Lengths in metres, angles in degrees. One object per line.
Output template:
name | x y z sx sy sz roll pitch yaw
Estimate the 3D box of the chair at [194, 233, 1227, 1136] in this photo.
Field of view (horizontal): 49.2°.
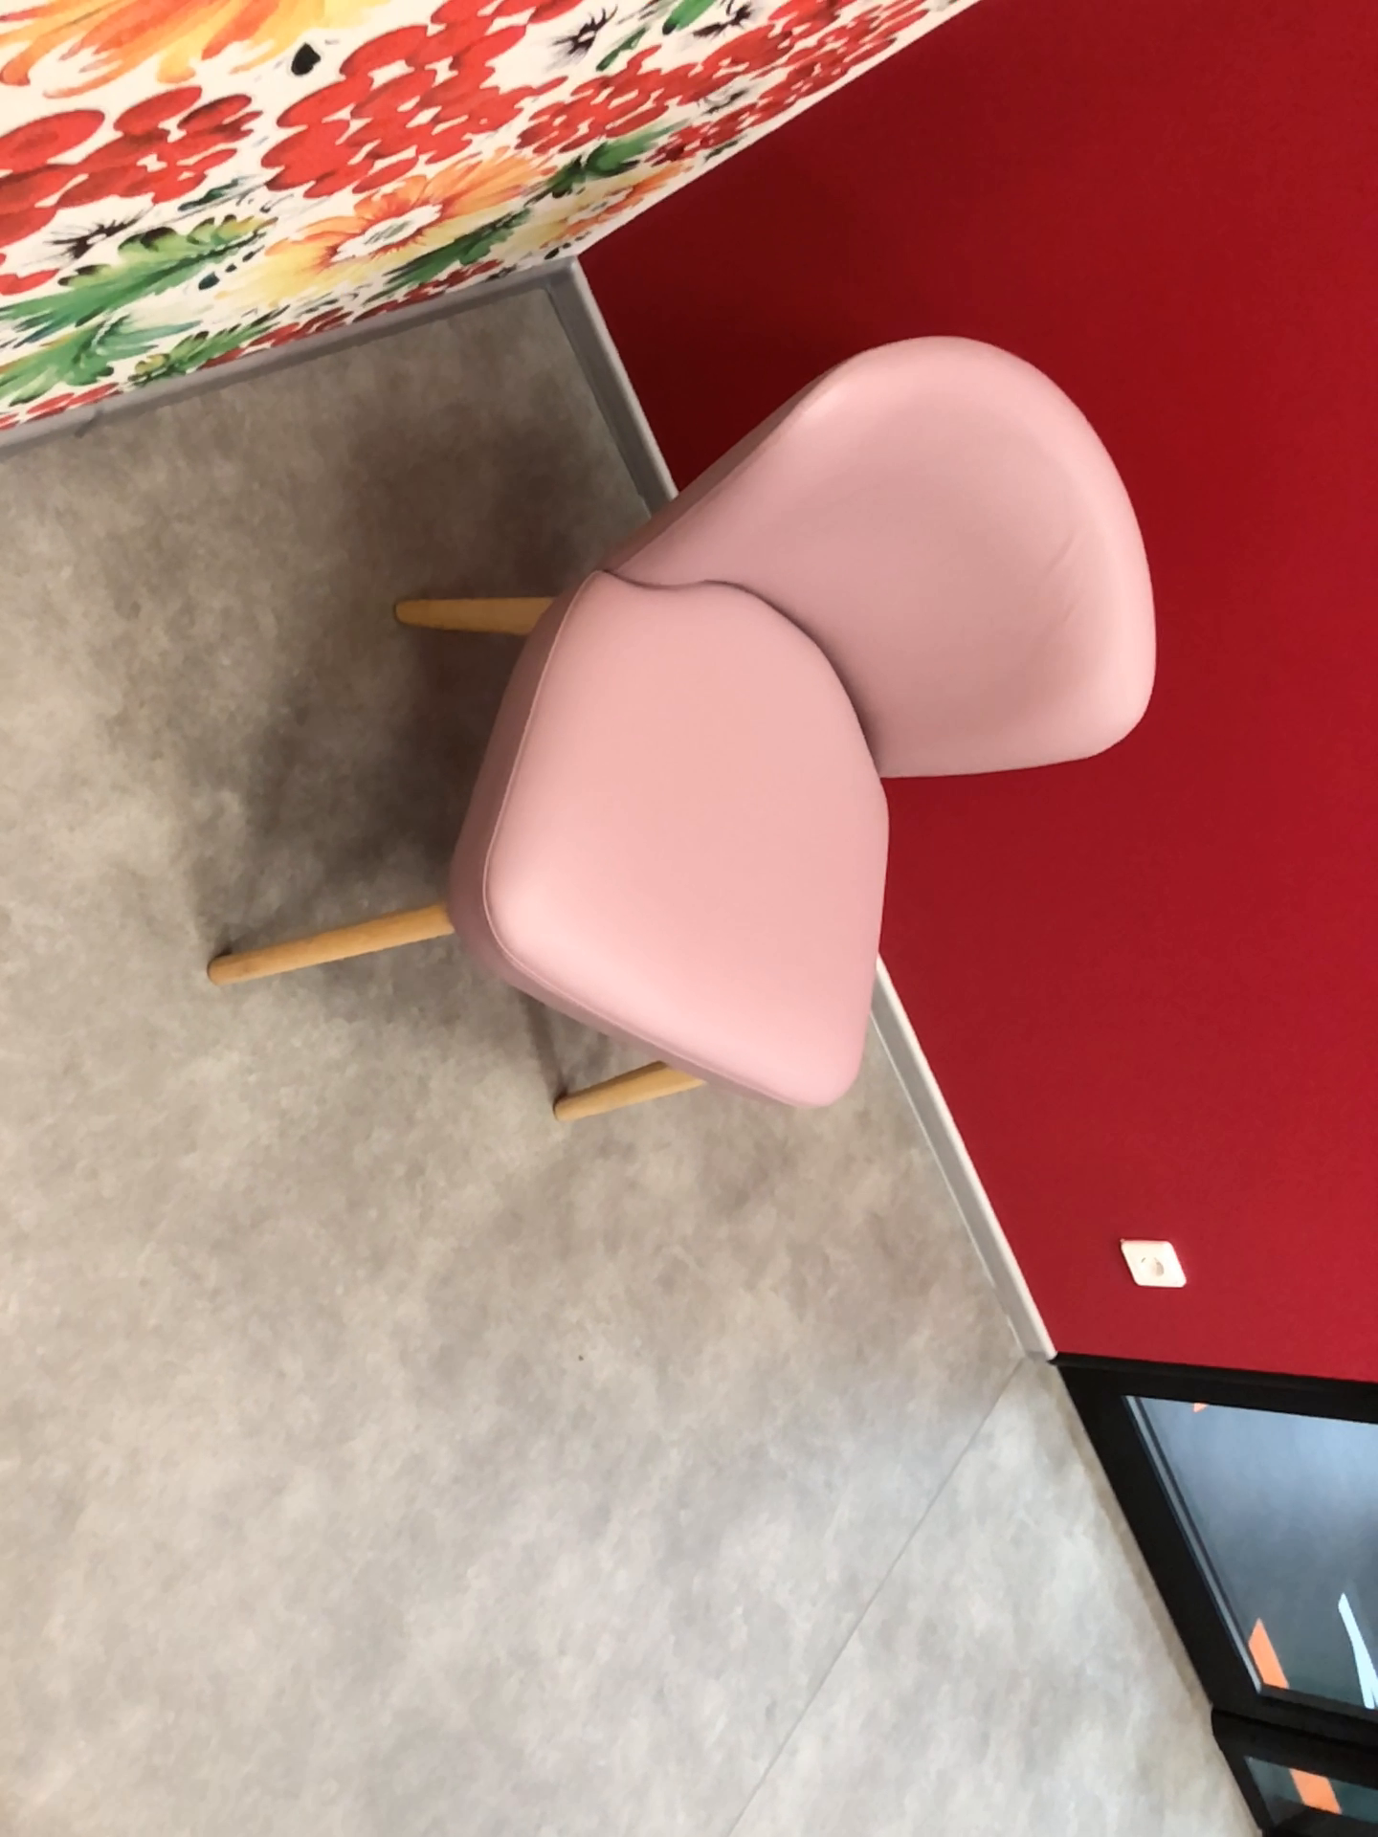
chair | 0.018 -0.127 1.471 0.512 0.785 0.541 29 63 -40
